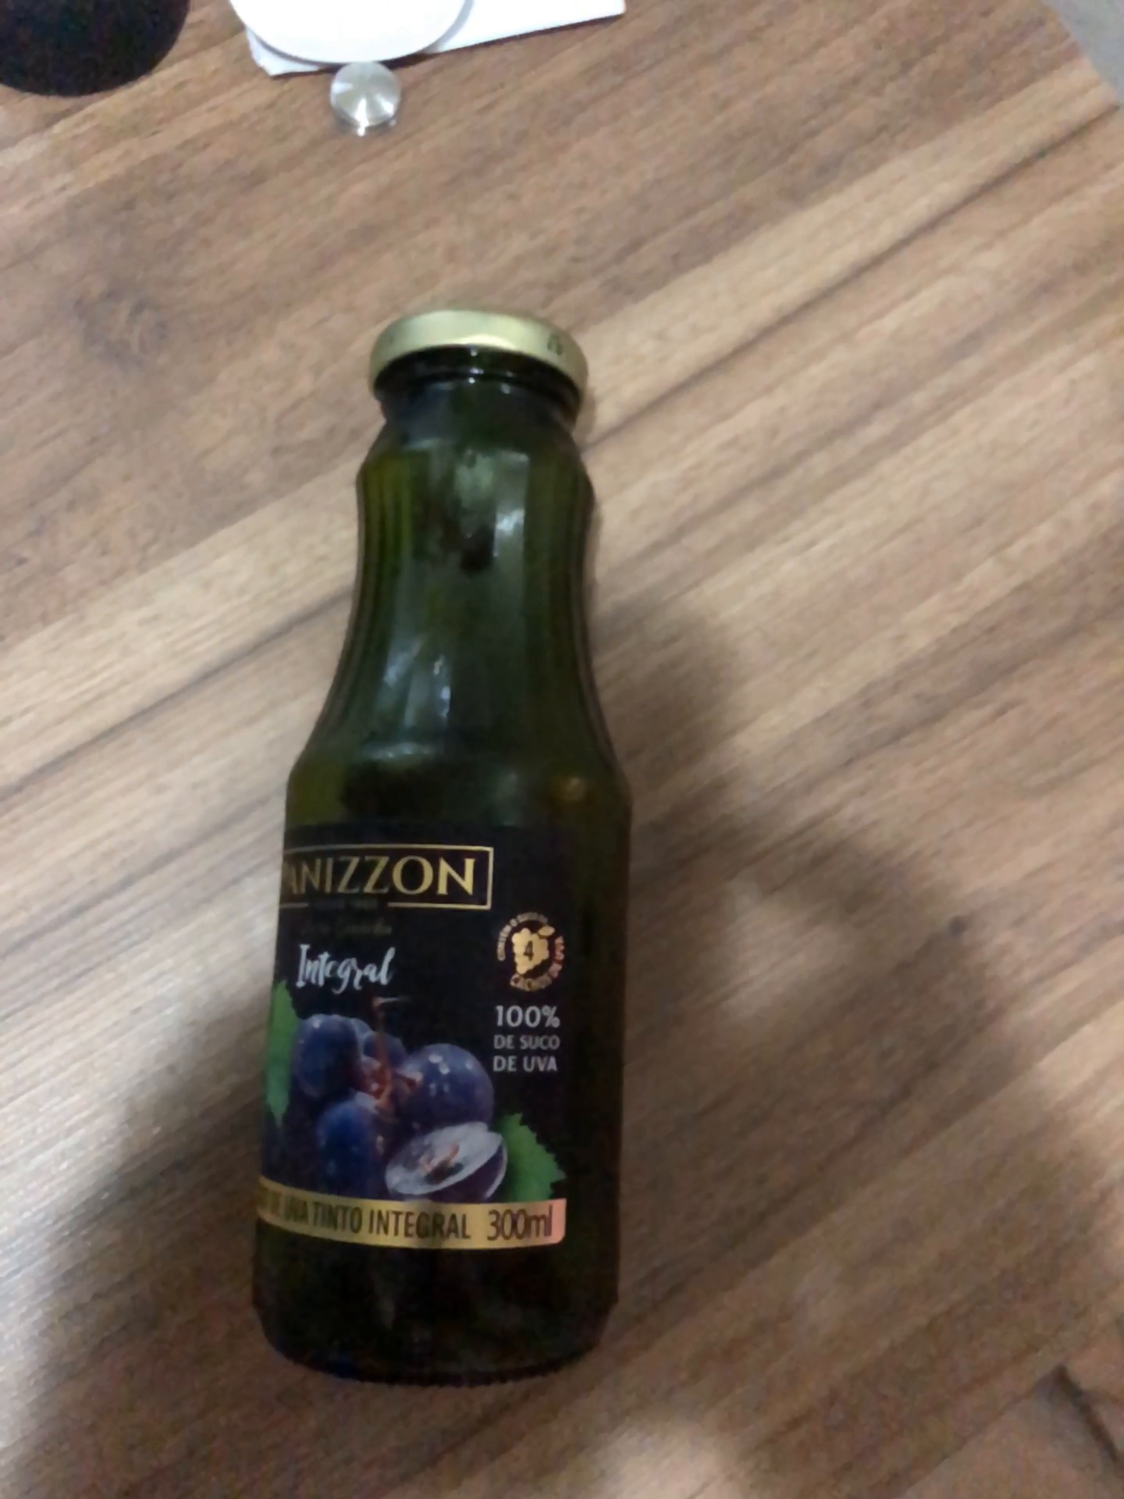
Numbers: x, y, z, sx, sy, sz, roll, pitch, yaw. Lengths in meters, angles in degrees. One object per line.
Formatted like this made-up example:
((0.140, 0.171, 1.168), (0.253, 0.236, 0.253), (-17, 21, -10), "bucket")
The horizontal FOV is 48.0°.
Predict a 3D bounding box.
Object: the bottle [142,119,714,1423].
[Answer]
((-0.019, 0.002, 0.239), (0.070, 0.070, 0.200), (-4, 79, 31), "bottle")
